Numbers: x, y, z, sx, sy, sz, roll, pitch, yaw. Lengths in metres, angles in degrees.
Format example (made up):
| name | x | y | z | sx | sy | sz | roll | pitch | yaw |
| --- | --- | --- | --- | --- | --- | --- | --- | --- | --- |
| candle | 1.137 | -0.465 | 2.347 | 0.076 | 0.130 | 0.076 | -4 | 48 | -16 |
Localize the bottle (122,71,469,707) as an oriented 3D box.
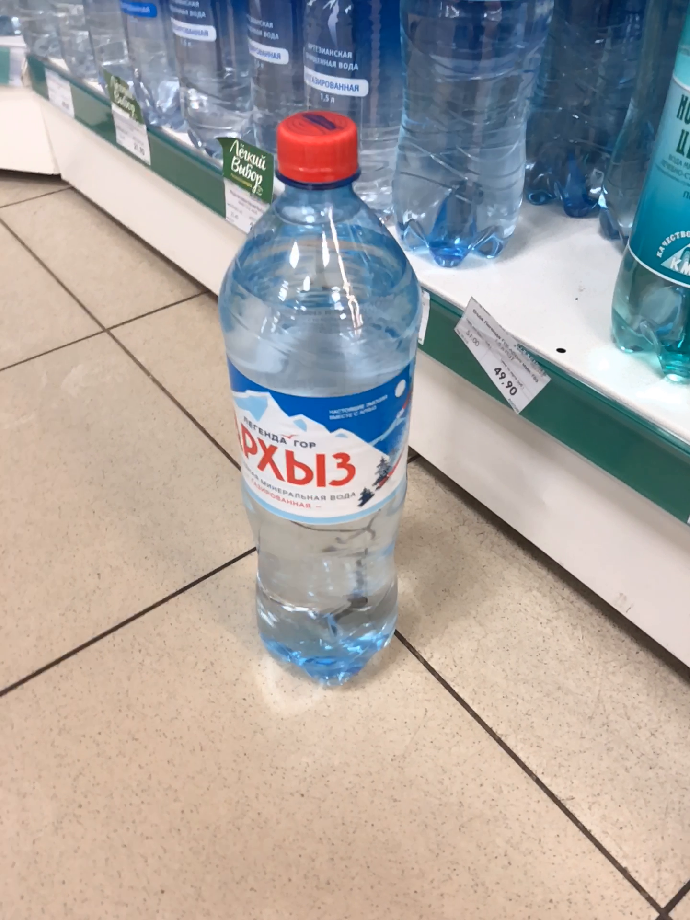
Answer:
| name | x | y | z | sx | sy | sz | roll | pitch | yaw |
| --- | --- | --- | --- | --- | --- | --- | --- | --- | --- |
| bottle | -0.015 | -0.010 | 0.378 | 0.094 | 0.305 | 0.085 | 0 | 43 | 0 |
